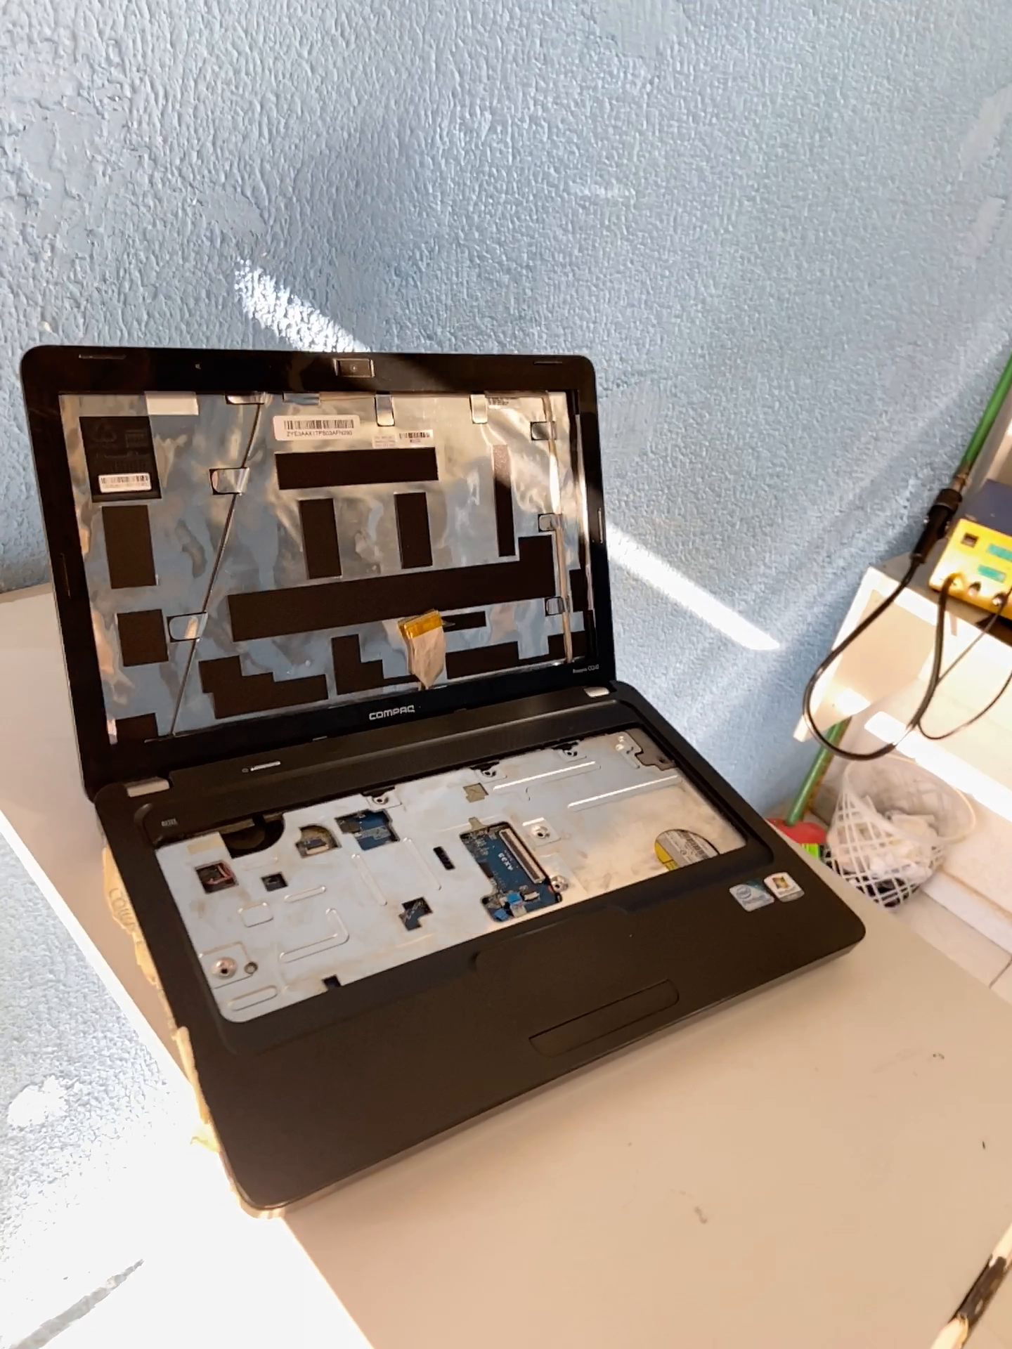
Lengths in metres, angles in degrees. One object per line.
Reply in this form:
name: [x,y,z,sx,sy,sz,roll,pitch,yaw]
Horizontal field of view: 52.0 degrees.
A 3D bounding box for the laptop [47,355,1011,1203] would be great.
laptop: [-0.015,-0.008,0.524,0.332,0.182,0.337,-11,41,-32]
